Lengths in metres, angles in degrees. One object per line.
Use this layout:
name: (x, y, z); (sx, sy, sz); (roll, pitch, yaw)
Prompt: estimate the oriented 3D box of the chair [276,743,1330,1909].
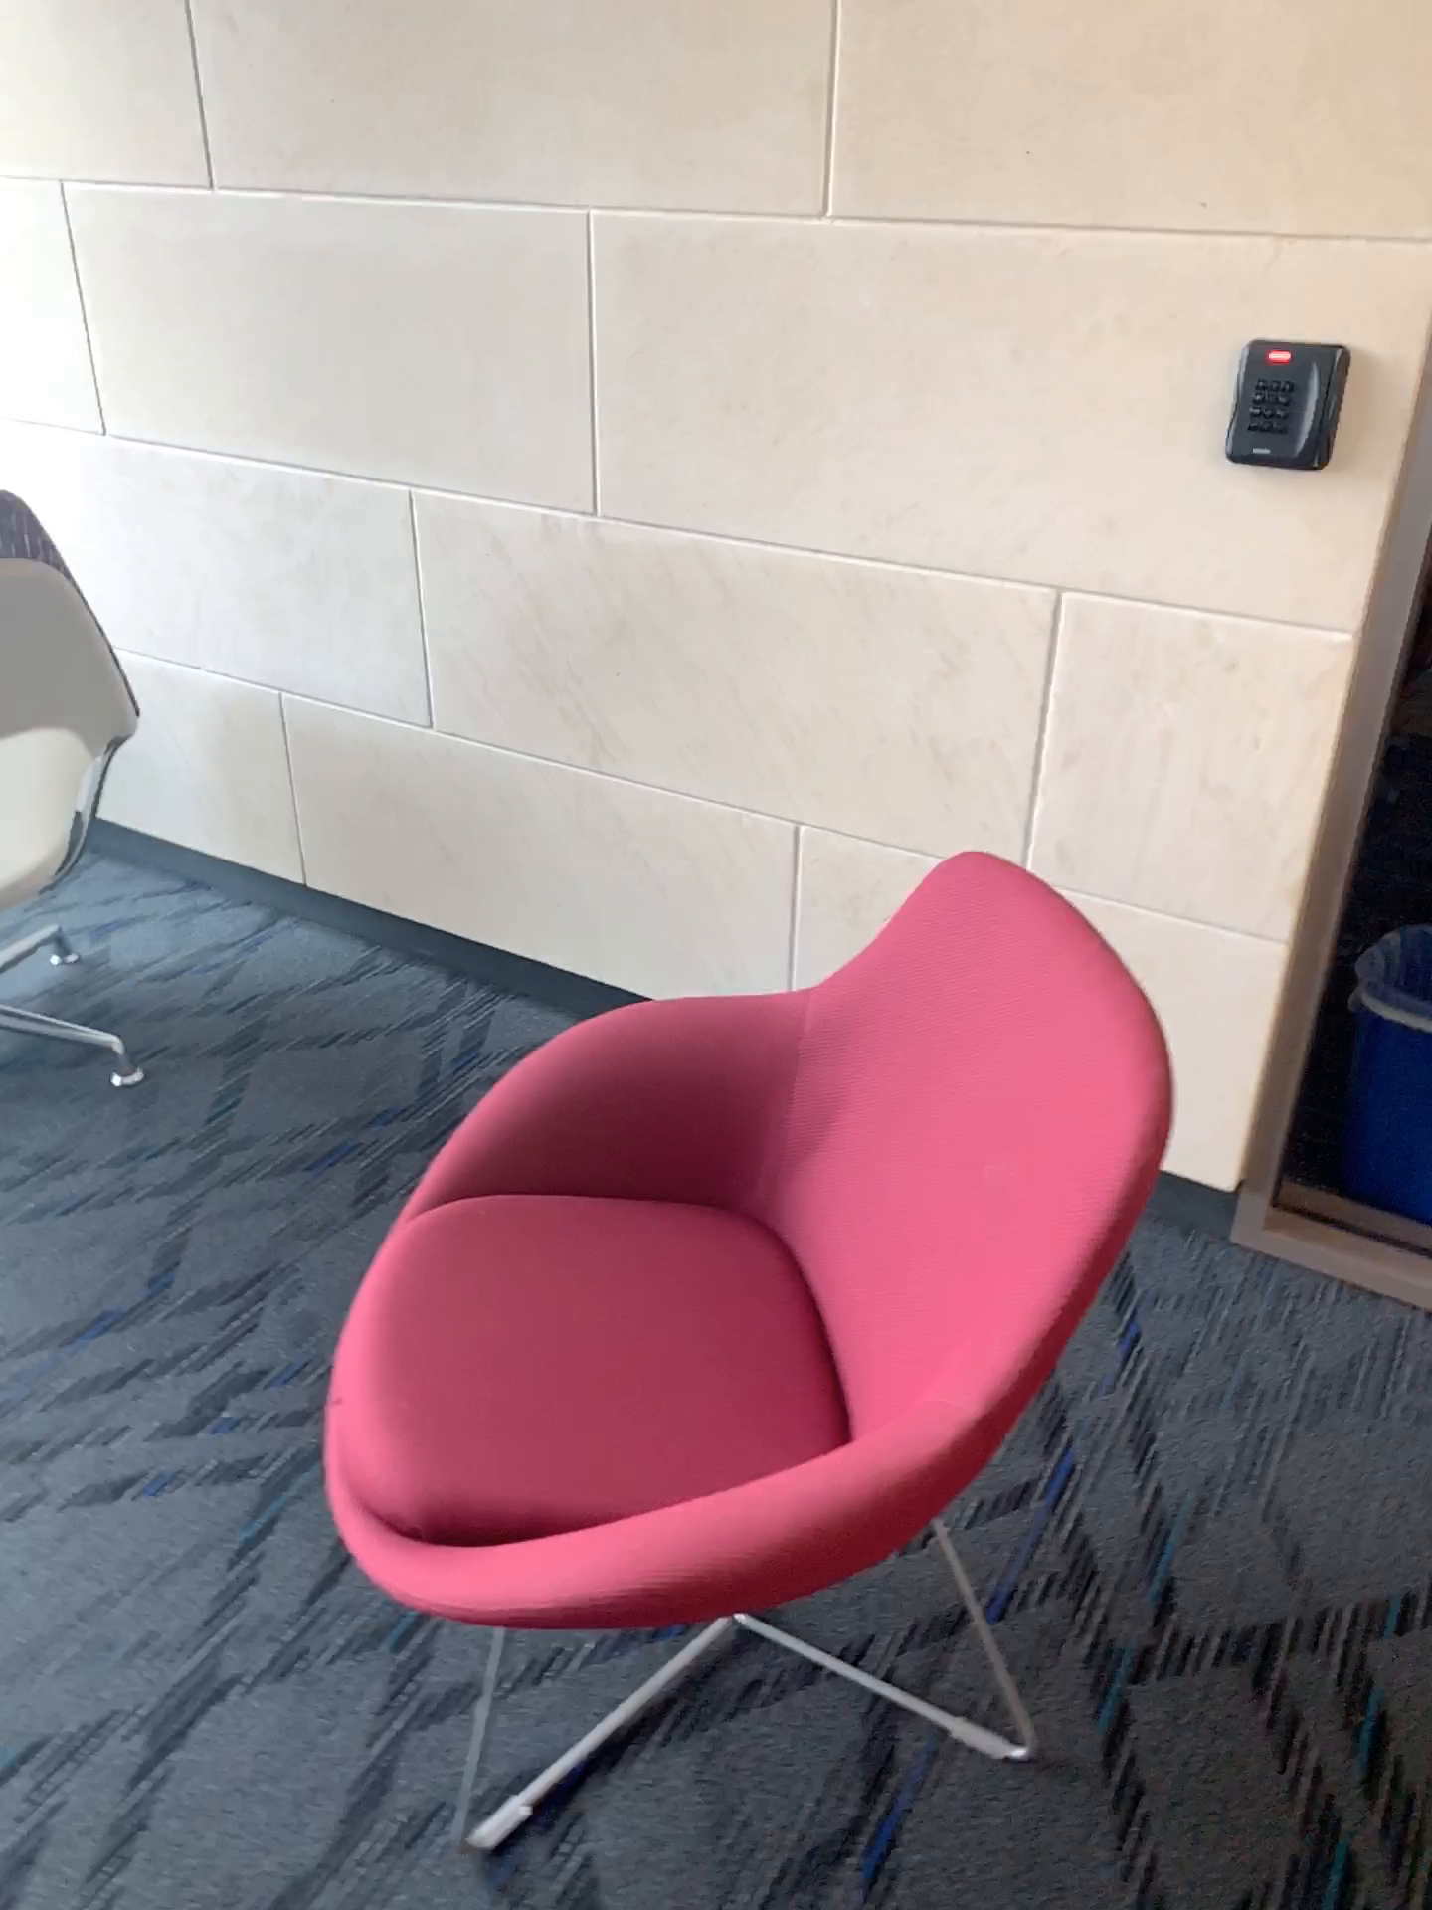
chair: (0.019, 0.295, 1.312); (0.610, 0.754, 0.696); (-2, 28, -6)
